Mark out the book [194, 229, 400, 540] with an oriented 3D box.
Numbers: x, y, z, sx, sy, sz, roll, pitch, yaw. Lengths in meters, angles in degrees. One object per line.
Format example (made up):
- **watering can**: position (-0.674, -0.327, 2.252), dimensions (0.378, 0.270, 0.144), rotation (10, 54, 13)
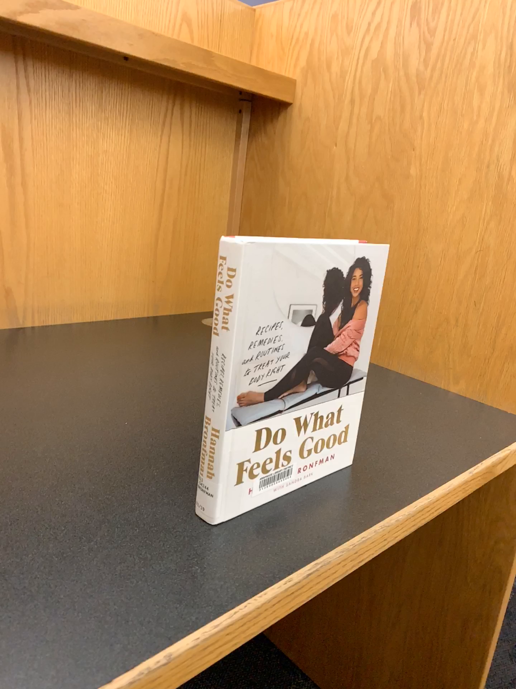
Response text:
- **book**: position (0.042, 0.026, 0.490), dimensions (0.030, 0.249, 0.210), rotation (20, 20, 41)
